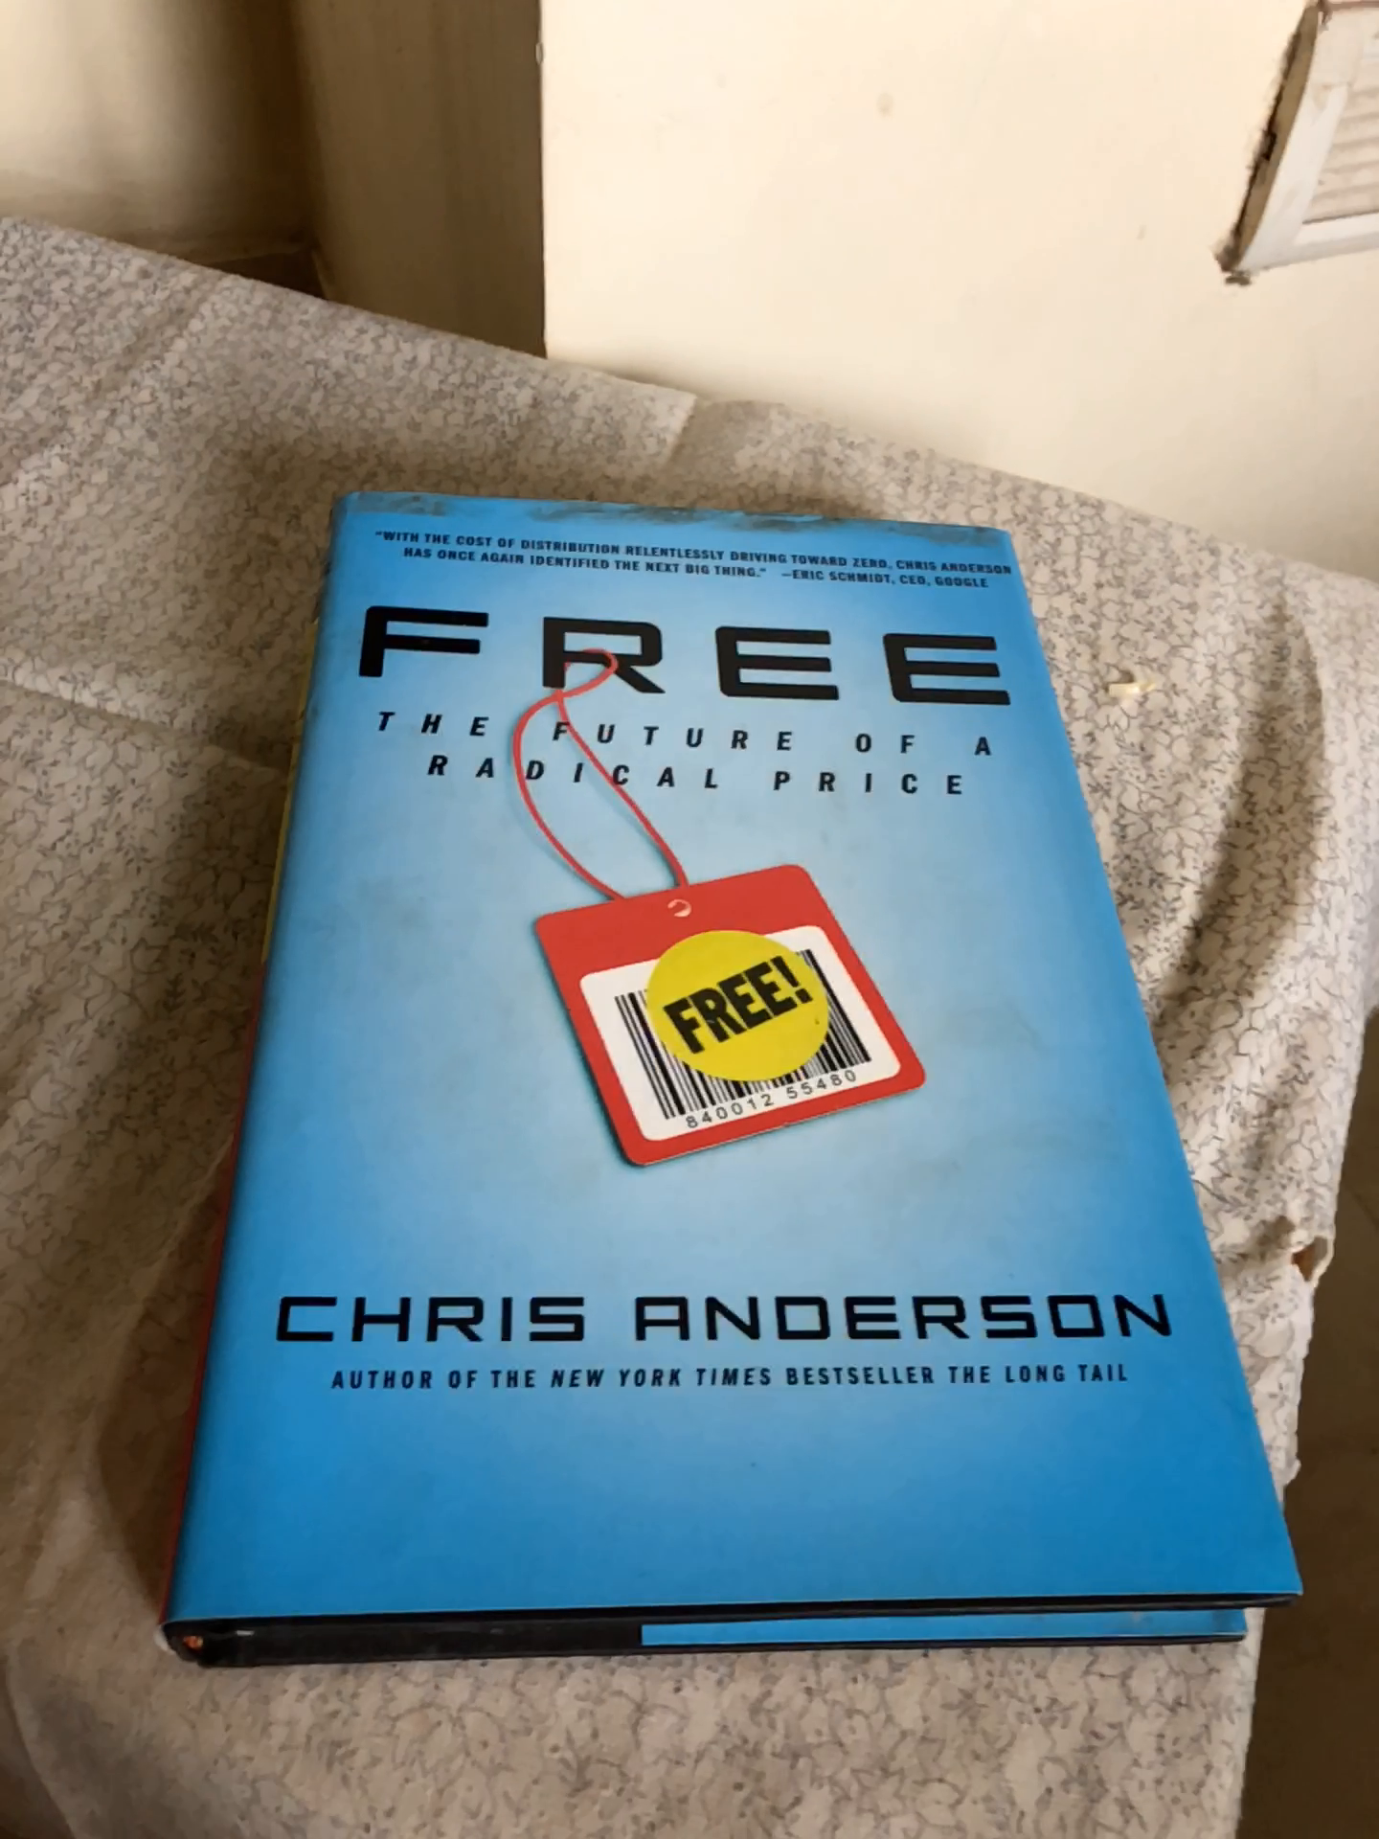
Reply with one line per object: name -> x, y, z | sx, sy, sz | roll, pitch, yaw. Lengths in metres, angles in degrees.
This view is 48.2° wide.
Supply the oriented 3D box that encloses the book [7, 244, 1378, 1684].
book -> 0.013, -0.027, 0.269 | 0.180, 0.040, 0.281 | 0, 50, -5
